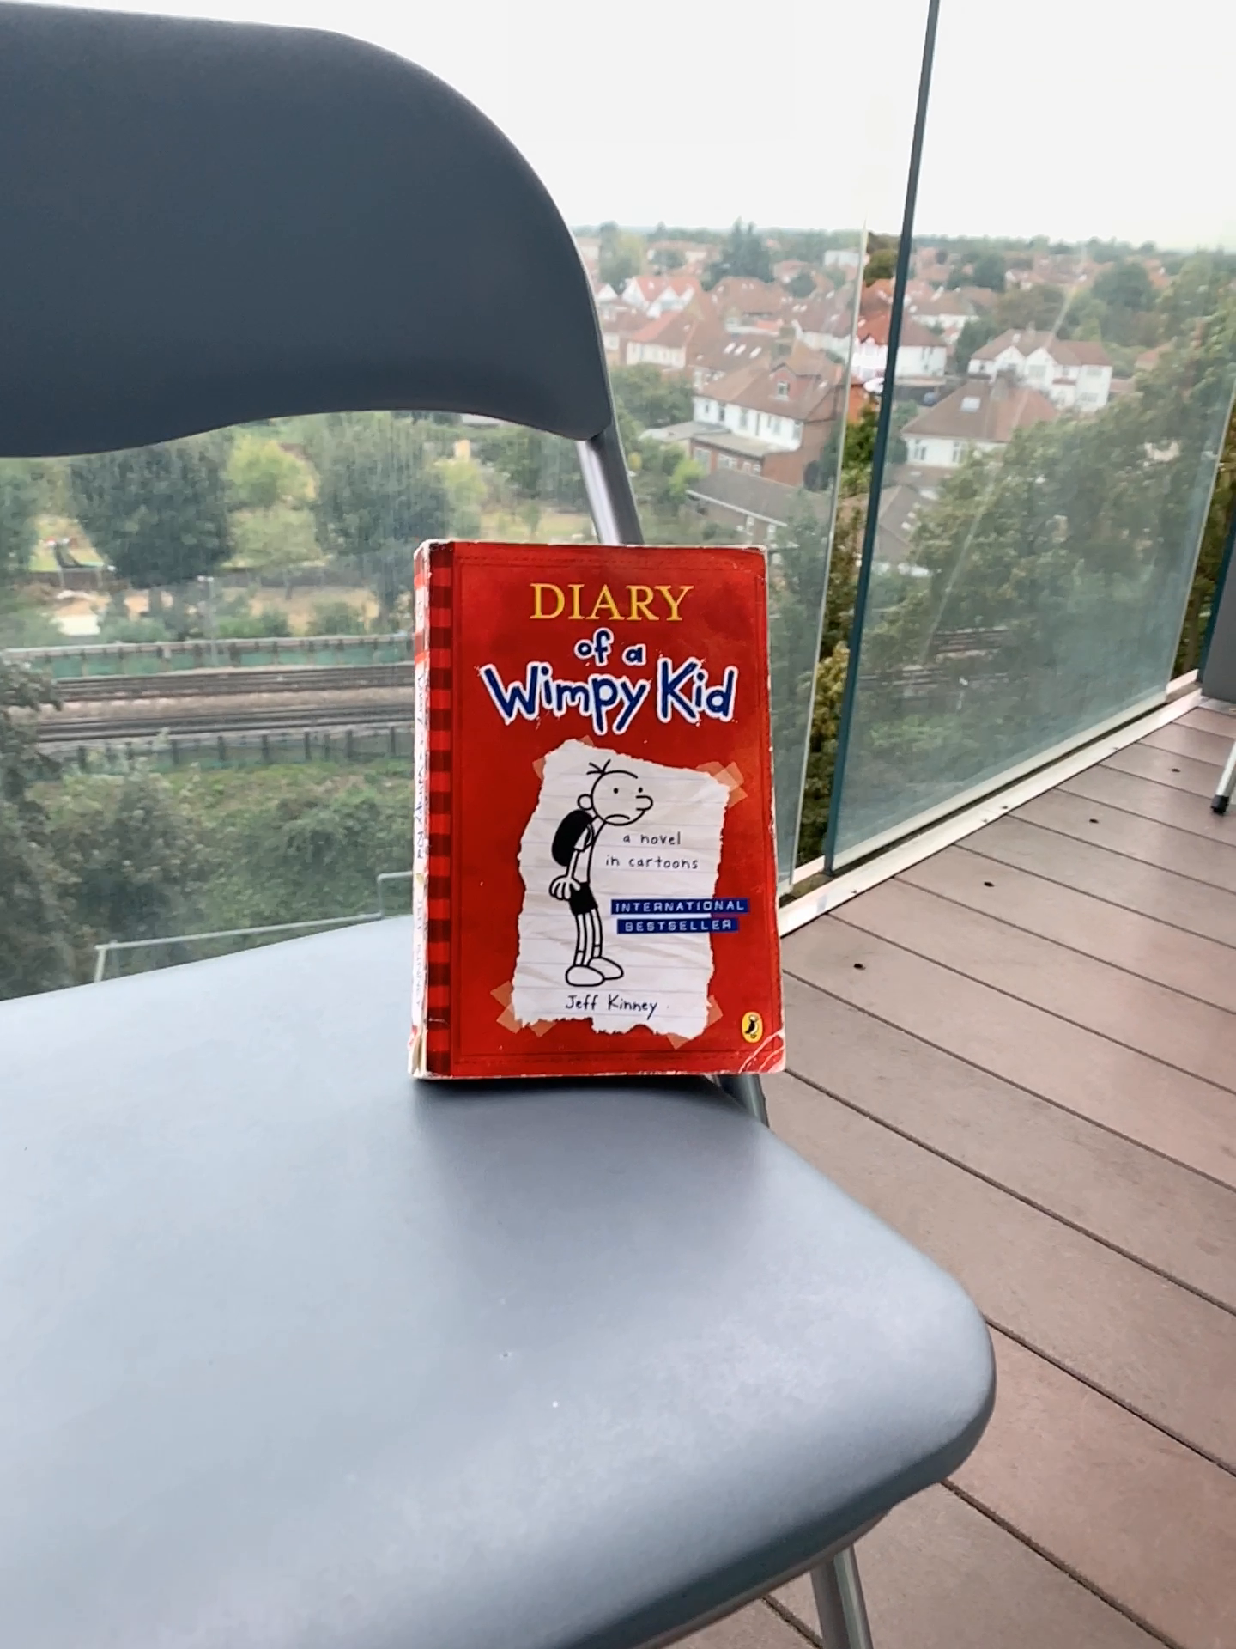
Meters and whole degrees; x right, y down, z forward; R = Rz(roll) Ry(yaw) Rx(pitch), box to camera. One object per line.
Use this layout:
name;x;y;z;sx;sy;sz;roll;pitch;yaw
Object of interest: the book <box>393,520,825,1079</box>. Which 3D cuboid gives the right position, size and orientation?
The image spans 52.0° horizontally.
book;-0.004;-0.009;0.473;0.150;0.201;0.040;1;-8;-4
